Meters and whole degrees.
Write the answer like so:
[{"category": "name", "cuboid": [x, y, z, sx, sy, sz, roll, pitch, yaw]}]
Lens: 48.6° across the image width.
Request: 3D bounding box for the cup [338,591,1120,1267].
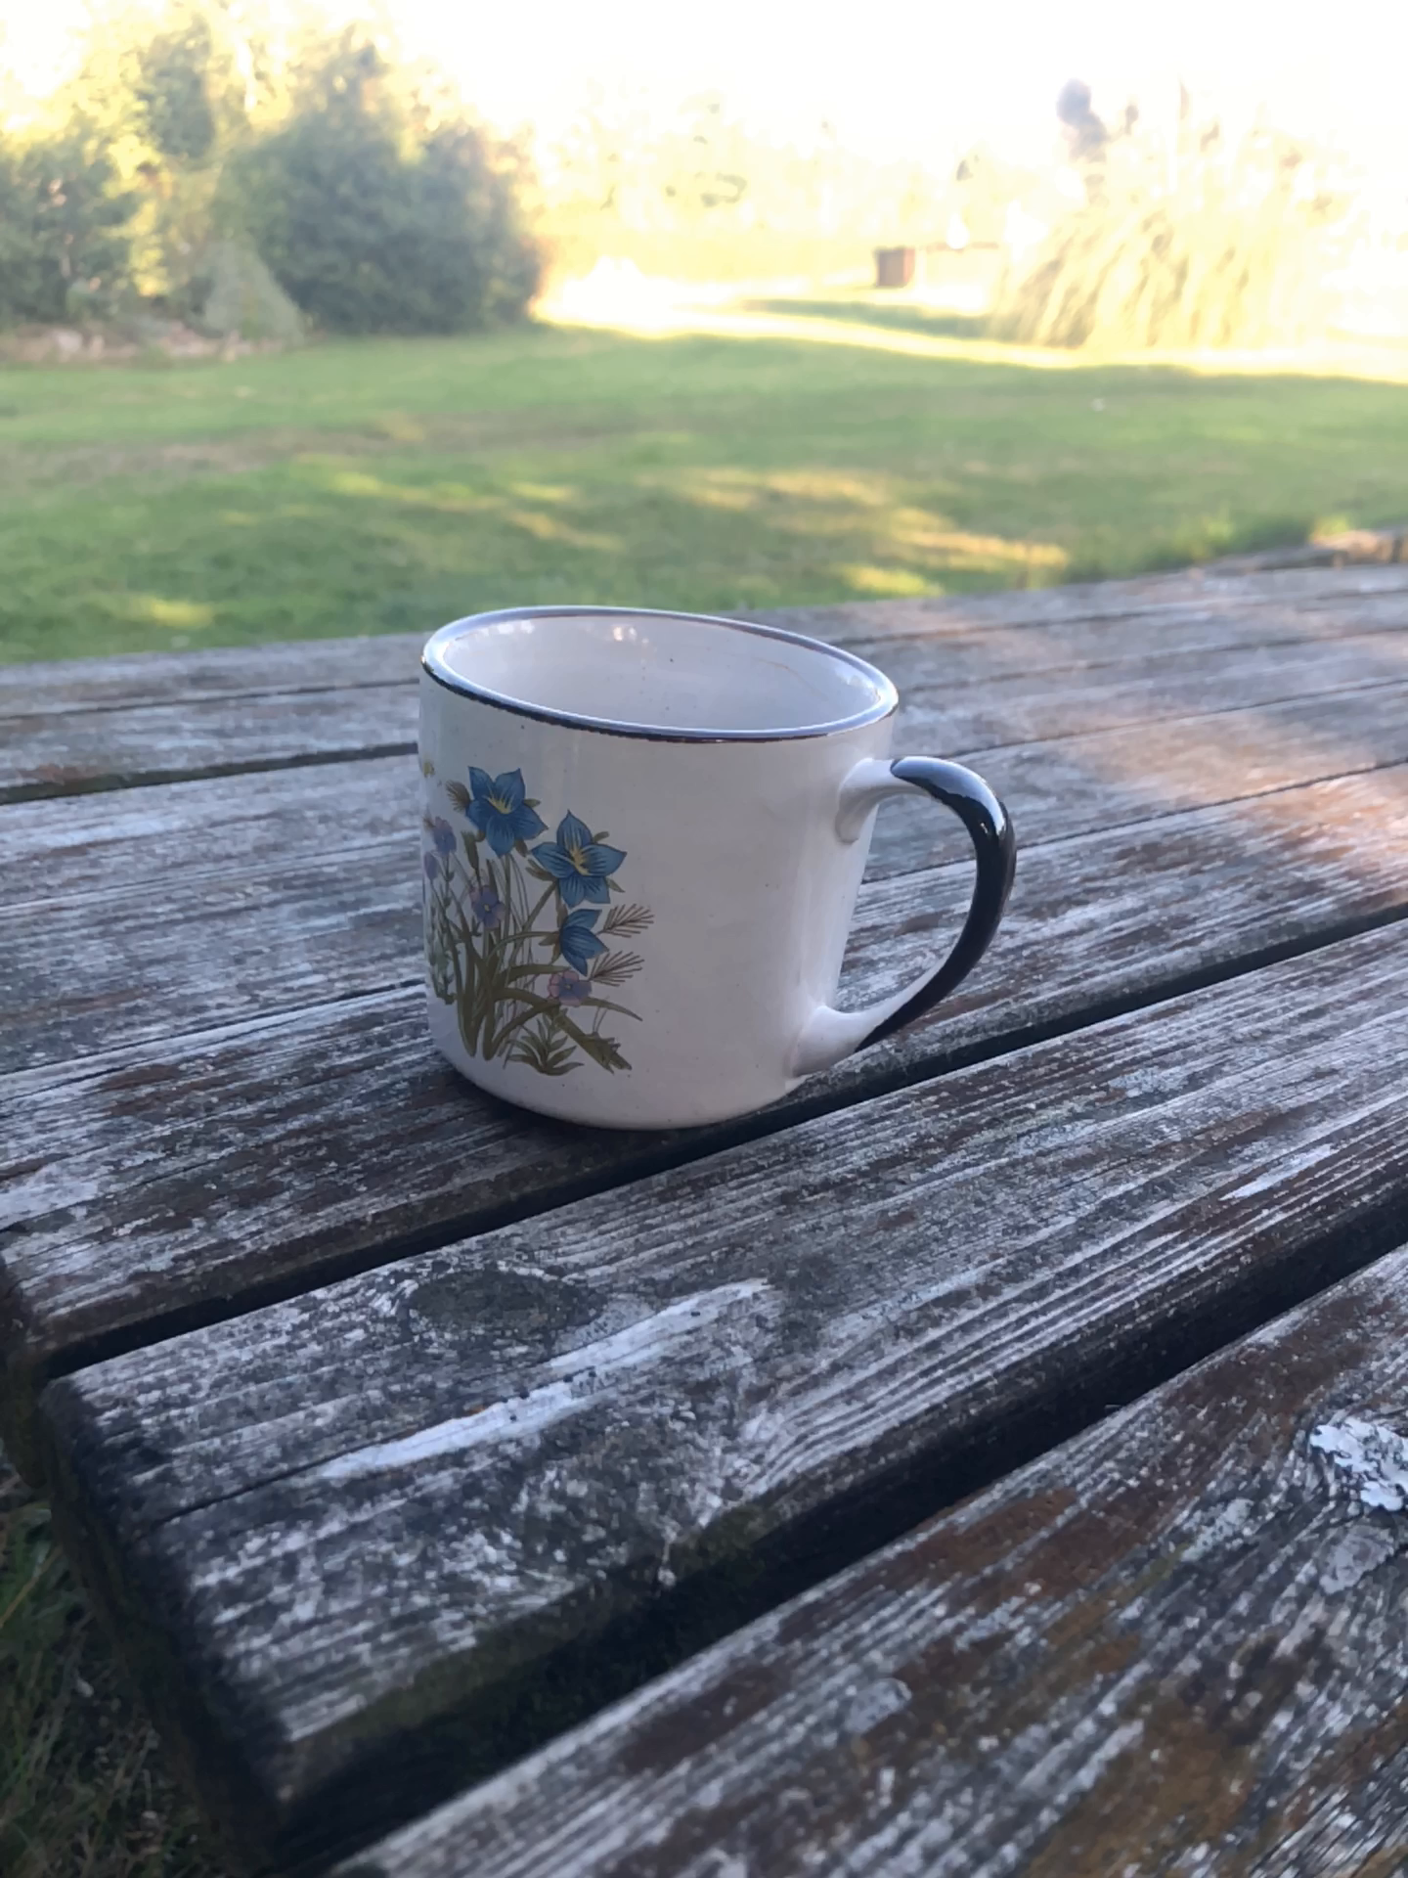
[{"category": "cup", "cuboid": [0.004, -0.012, 0.286, 0.108, 0.078, 0.087, 17, 24, 27]}]
